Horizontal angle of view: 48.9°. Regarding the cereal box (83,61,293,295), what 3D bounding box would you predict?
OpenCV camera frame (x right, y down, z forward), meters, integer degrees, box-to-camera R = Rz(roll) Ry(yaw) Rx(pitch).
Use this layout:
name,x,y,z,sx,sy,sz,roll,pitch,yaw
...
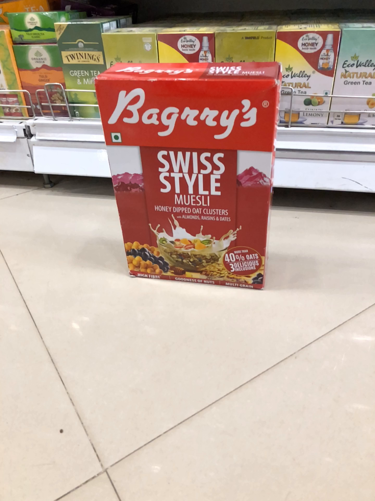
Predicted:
name,x,y,z,sx,sy,sz,roll,pitch,yaw
cereal box,0.010,-0.080,0.487,0.200,0.248,0.081,5,36,12
